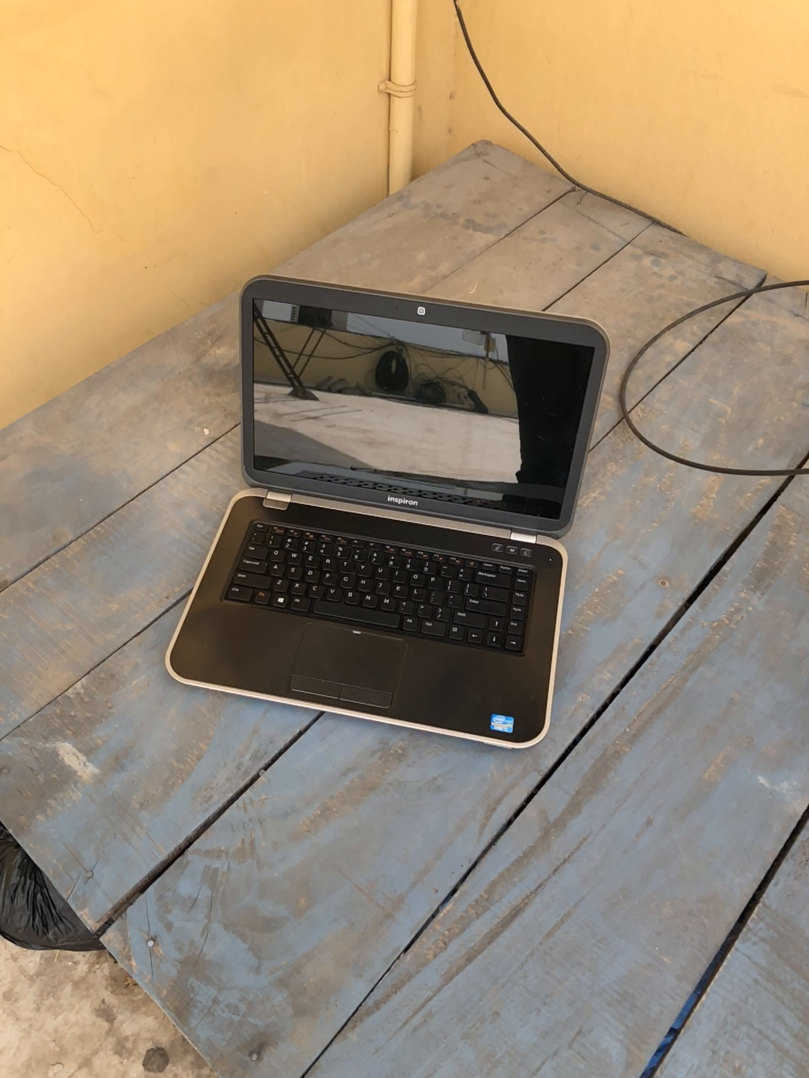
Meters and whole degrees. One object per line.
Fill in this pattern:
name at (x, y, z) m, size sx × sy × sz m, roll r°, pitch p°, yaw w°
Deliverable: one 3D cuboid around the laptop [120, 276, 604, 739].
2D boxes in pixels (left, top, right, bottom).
laptop at (-0.018, -0.041, 0.849) m, size 0.352 × 0.209 × 0.334 m, roll 9°, pitch 53°, yaw 8°
